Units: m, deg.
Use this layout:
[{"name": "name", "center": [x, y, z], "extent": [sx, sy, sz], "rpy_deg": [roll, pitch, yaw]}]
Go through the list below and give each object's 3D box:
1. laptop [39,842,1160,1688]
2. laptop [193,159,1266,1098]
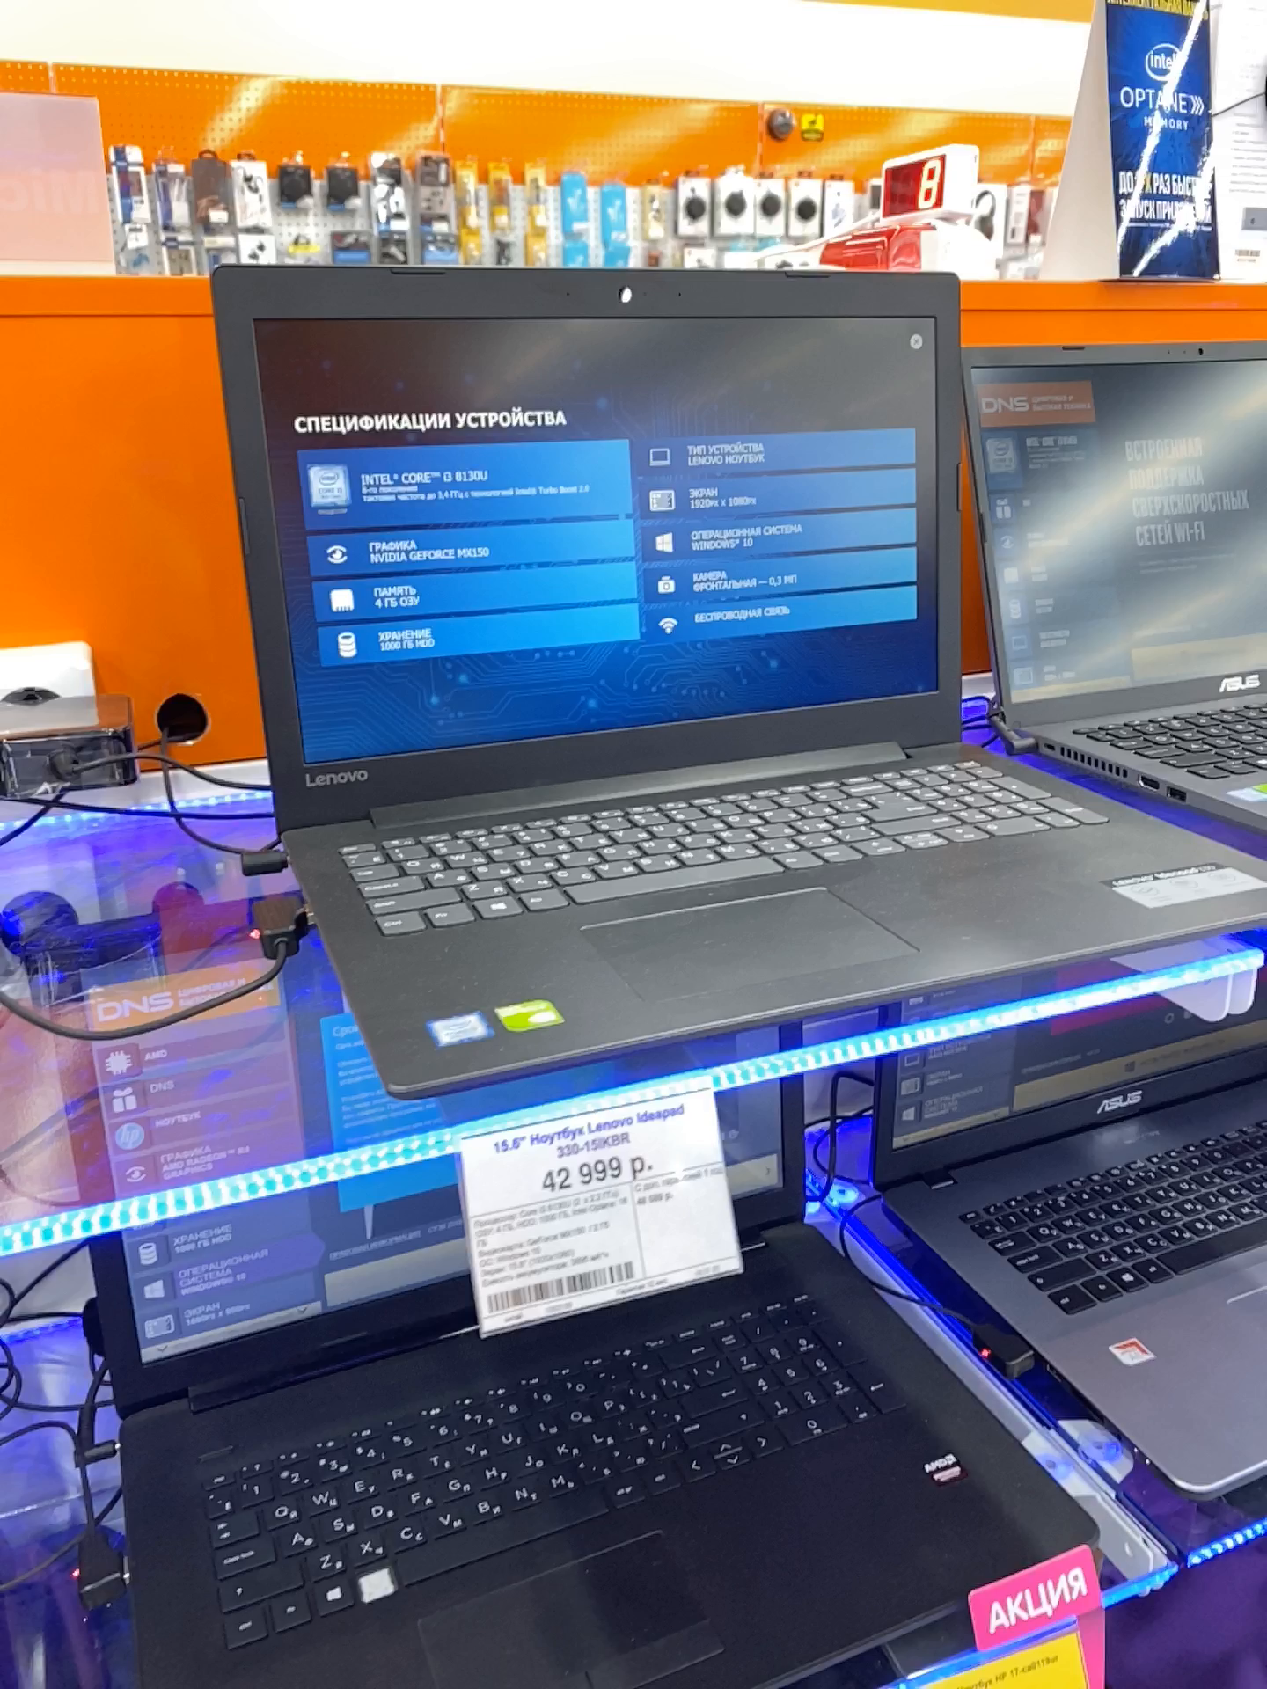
[{"name": "laptop", "center": [-0.030, 0.182, 0.595], "extent": [0.400, 0.263, 0.272], "rpy_deg": [-9, 18, -23]}, {"name": "laptop", "center": [0.042, -0.111, 0.532], "extent": [0.377, 0.244, 0.290], "rpy_deg": [-8, 20, -20]}]
